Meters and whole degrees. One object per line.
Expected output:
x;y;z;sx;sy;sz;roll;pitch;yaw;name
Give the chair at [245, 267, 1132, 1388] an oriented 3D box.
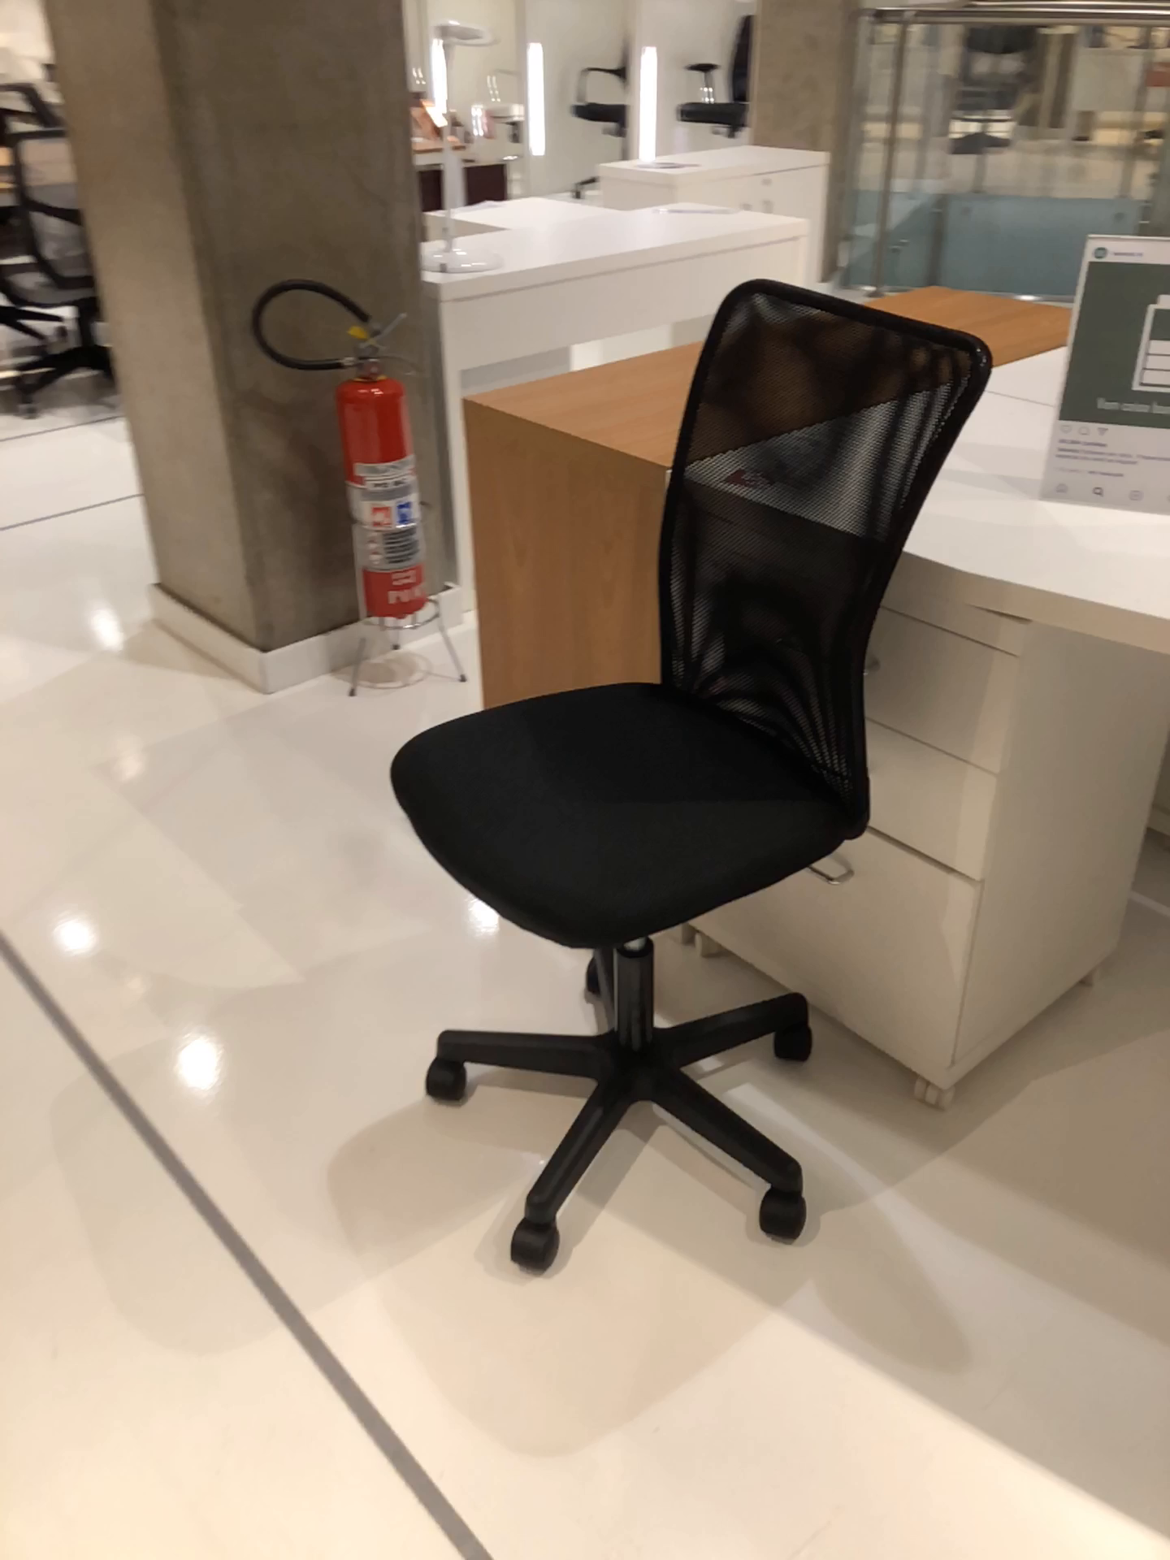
0.072;0.009;1.381;0.571;0.923;0.563;-18;35;-26;chair
